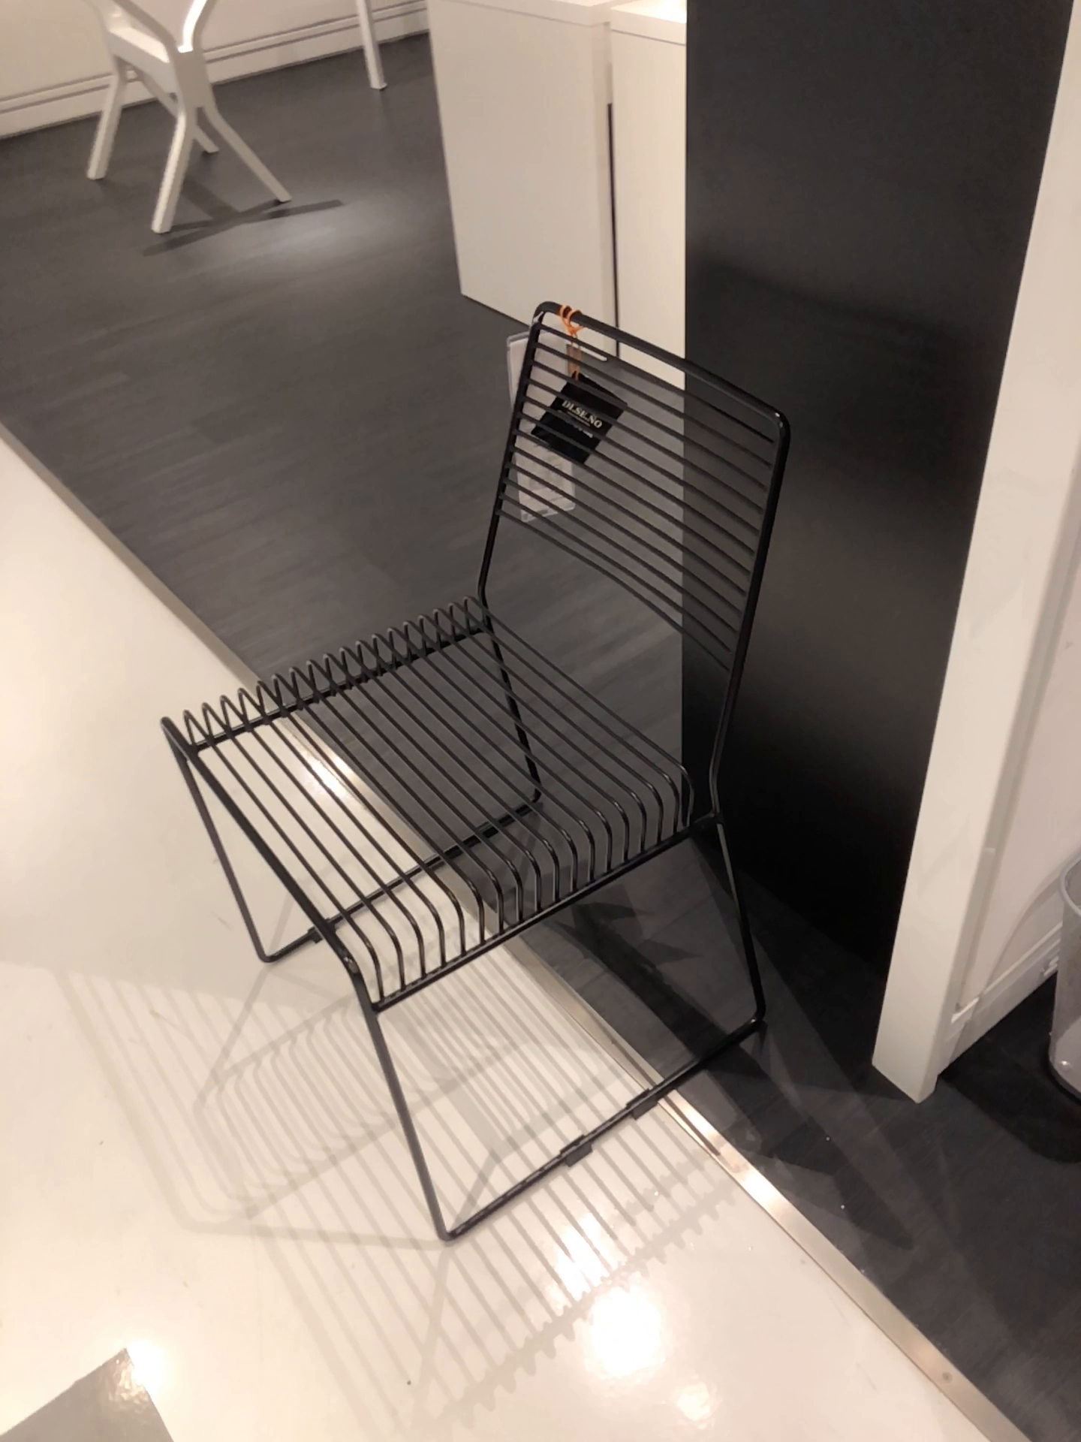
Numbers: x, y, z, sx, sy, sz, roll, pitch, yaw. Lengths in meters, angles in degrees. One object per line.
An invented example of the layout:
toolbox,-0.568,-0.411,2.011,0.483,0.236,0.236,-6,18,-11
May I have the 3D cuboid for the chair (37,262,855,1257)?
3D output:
chair,-0.073,0.033,1.258,0.501,0.764,0.523,-28,45,-23
